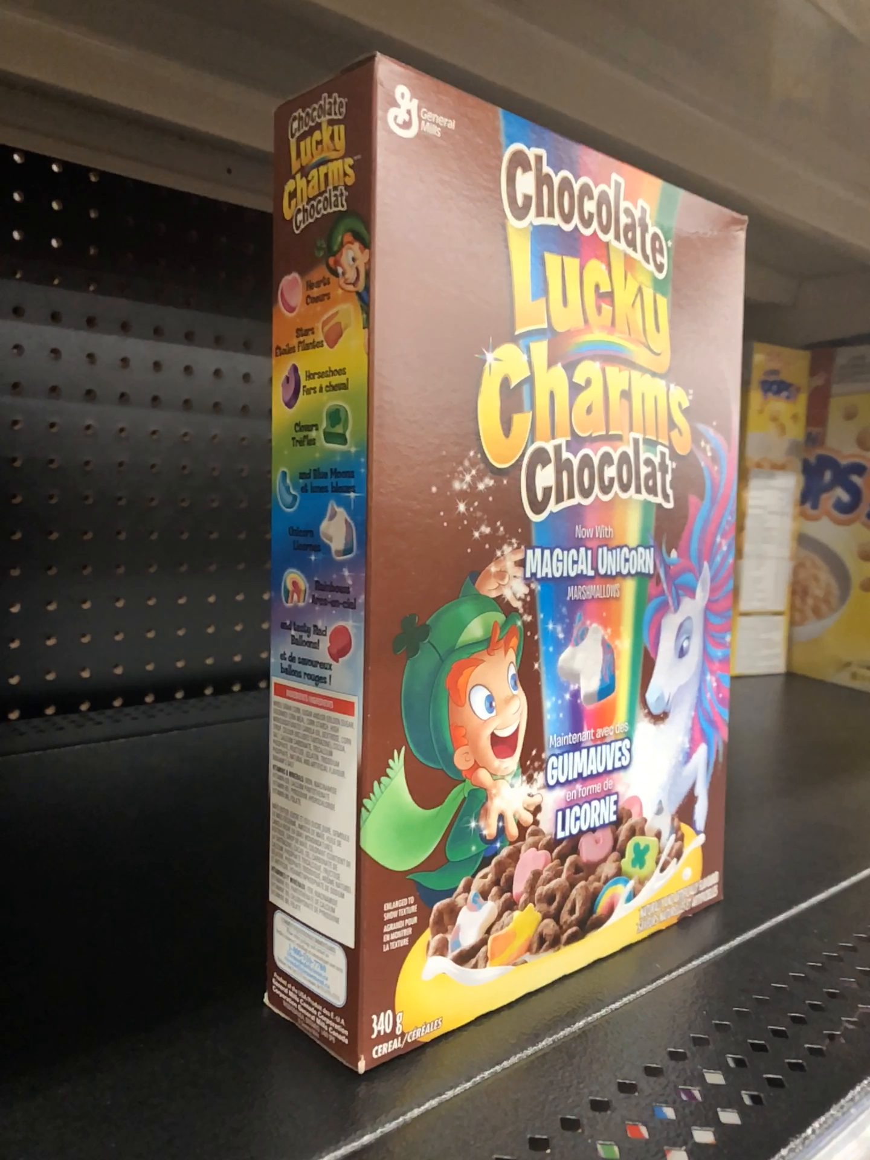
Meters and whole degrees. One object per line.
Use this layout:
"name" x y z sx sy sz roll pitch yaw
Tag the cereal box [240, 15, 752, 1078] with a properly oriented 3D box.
"cereal box" 0.033 -0.011 0.351 0.200 0.290 0.060 -2 3 -42
